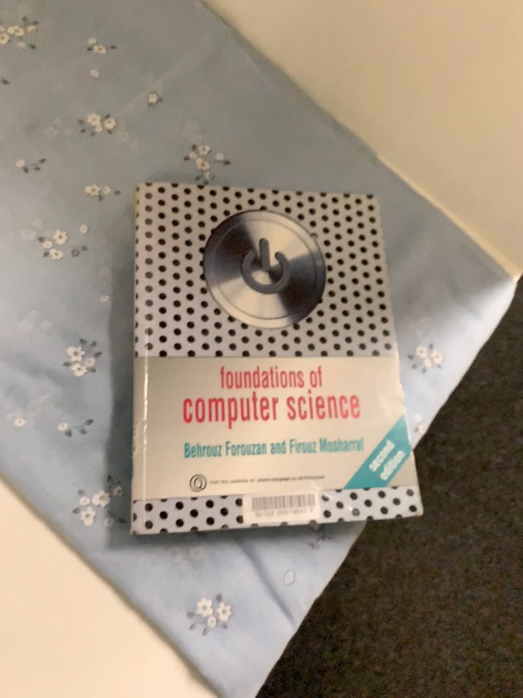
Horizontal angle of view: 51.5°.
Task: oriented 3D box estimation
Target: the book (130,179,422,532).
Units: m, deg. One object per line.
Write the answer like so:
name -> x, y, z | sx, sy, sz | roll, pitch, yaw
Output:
book -> 0.004, -0.002, 0.400 | 0.191, 0.040, 0.246 | 0, 73, -11
